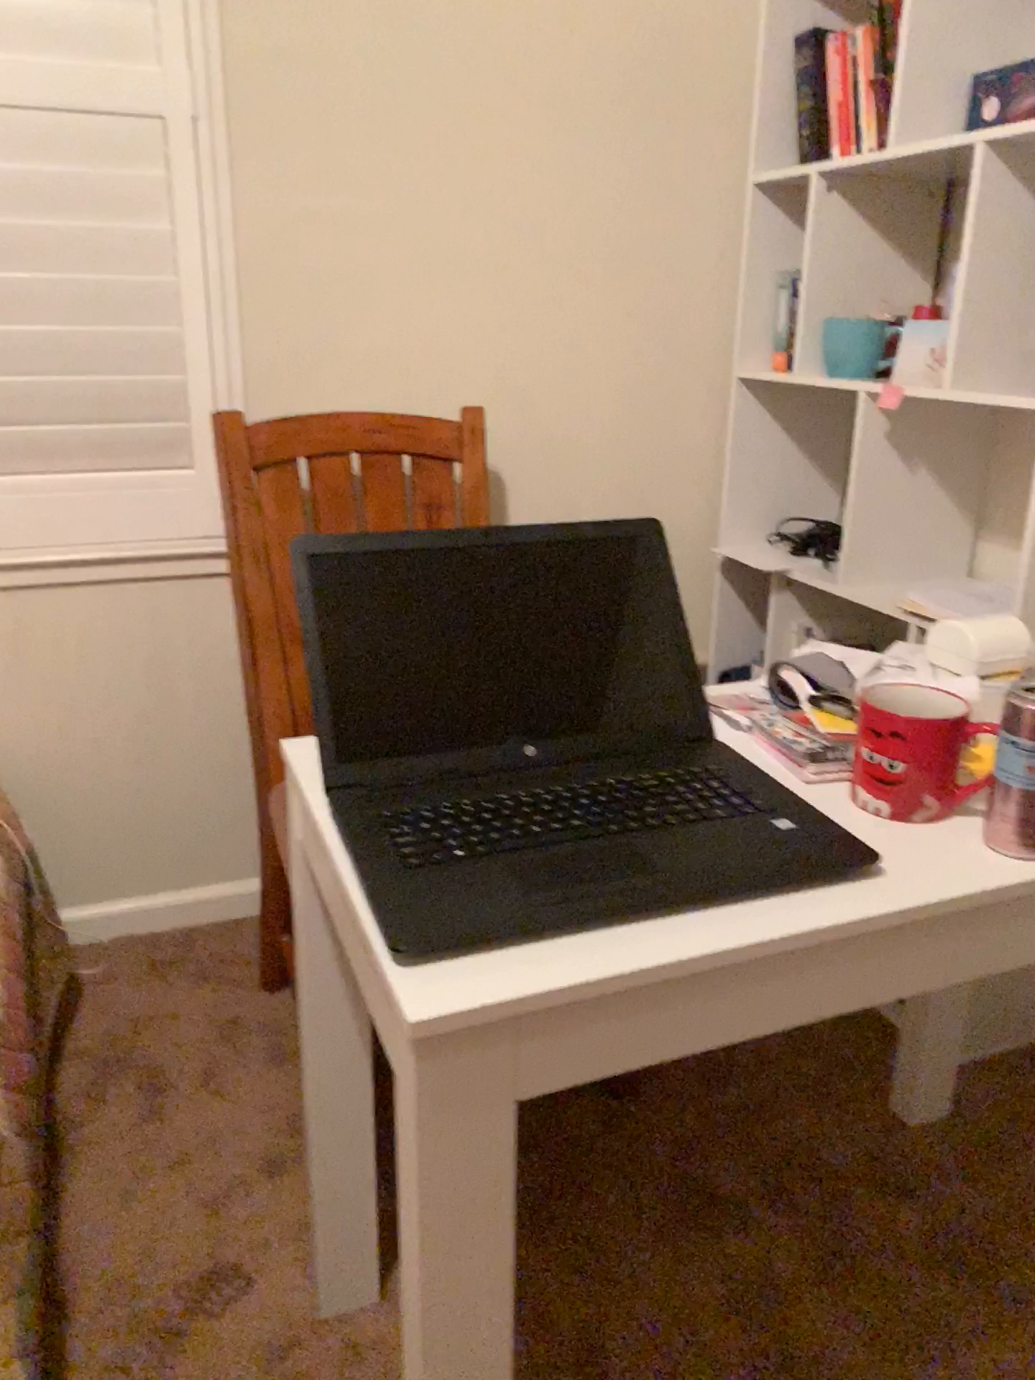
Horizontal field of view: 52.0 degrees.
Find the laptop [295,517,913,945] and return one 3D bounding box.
[{"bbox_3d":[0.038,-0.007,0.950,0.400,0.197,0.417,-6,21,-19],"label":"laptop"}]
